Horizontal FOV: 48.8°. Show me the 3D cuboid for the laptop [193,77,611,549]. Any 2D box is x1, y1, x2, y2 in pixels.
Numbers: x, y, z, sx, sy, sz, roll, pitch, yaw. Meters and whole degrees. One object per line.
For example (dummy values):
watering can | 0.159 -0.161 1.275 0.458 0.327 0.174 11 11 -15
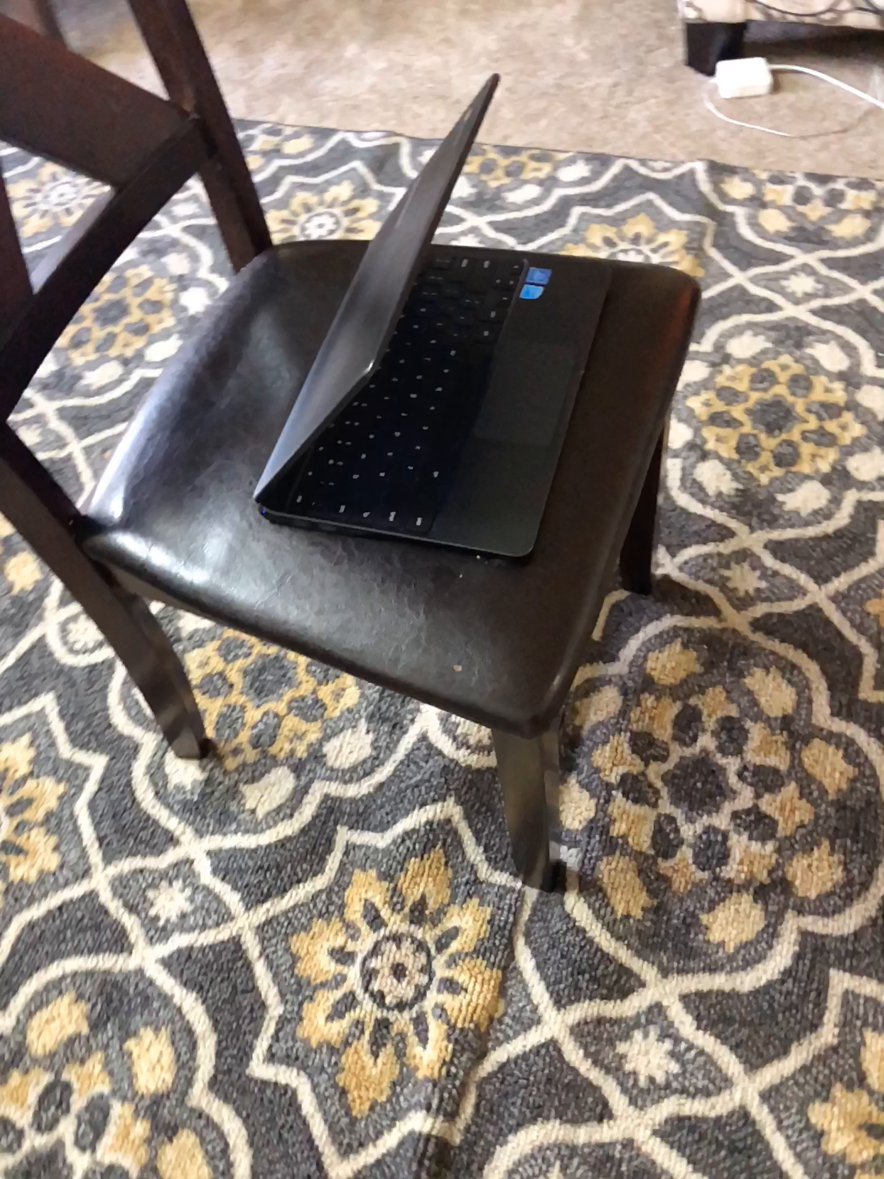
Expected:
laptop | -0.006 -0.194 0.661 0.191 0.155 0.263 10 58 13
